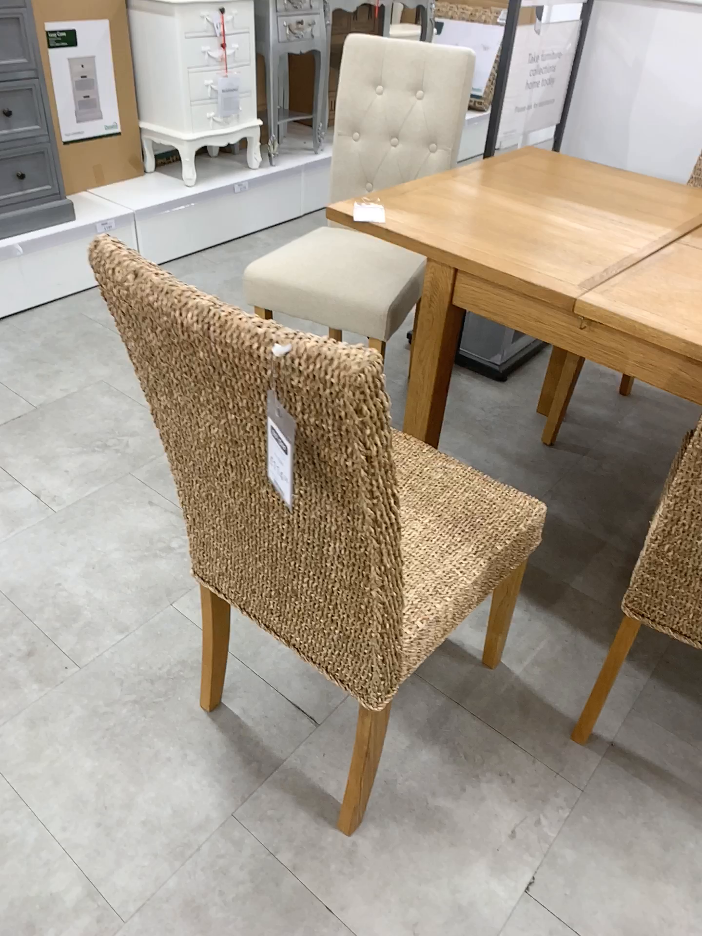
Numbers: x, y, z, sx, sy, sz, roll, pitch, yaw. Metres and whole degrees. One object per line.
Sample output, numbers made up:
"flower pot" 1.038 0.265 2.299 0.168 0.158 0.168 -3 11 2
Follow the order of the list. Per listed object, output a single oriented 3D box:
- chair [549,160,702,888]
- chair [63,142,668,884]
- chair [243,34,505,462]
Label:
"chair" 0.717 0.085 1.126 0.438 0.893 0.556 24 42 24
"chair" 0.020 0.060 1.136 0.489 0.903 0.566 28 44 28
"chair" 0.047 -0.575 1.885 0.398 0.903 0.516 21 41 21
